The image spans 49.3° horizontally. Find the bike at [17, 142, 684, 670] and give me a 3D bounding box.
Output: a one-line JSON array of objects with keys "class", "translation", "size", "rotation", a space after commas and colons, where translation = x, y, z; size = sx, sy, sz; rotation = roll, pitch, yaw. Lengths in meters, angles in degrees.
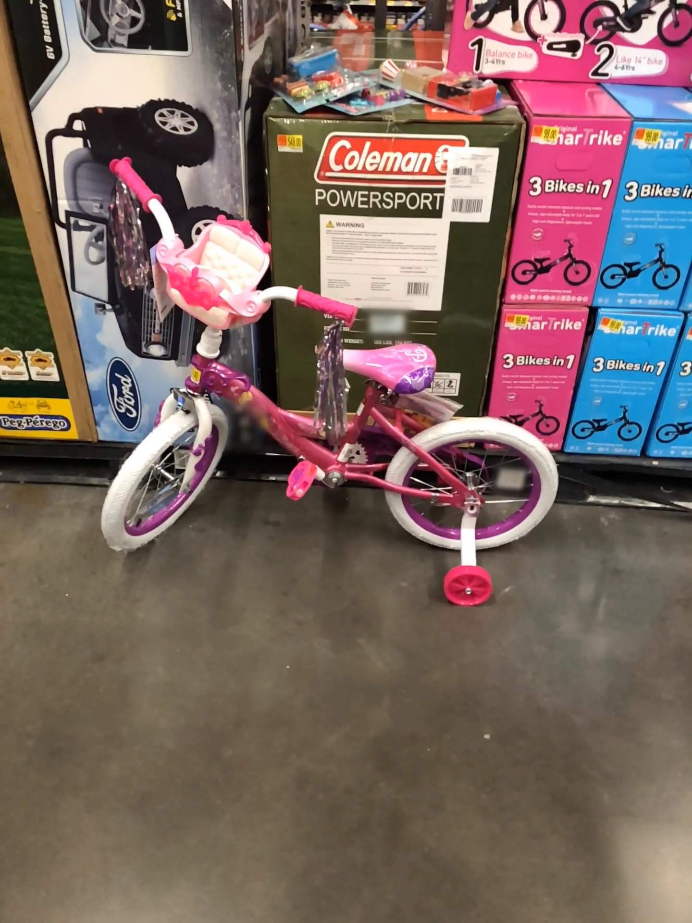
[{"class": "bike", "translation": [-0.013, -0.107, 1.502], "size": [0.948, 0.854, 0.480], "rotation": [-5, 37, -7]}]
